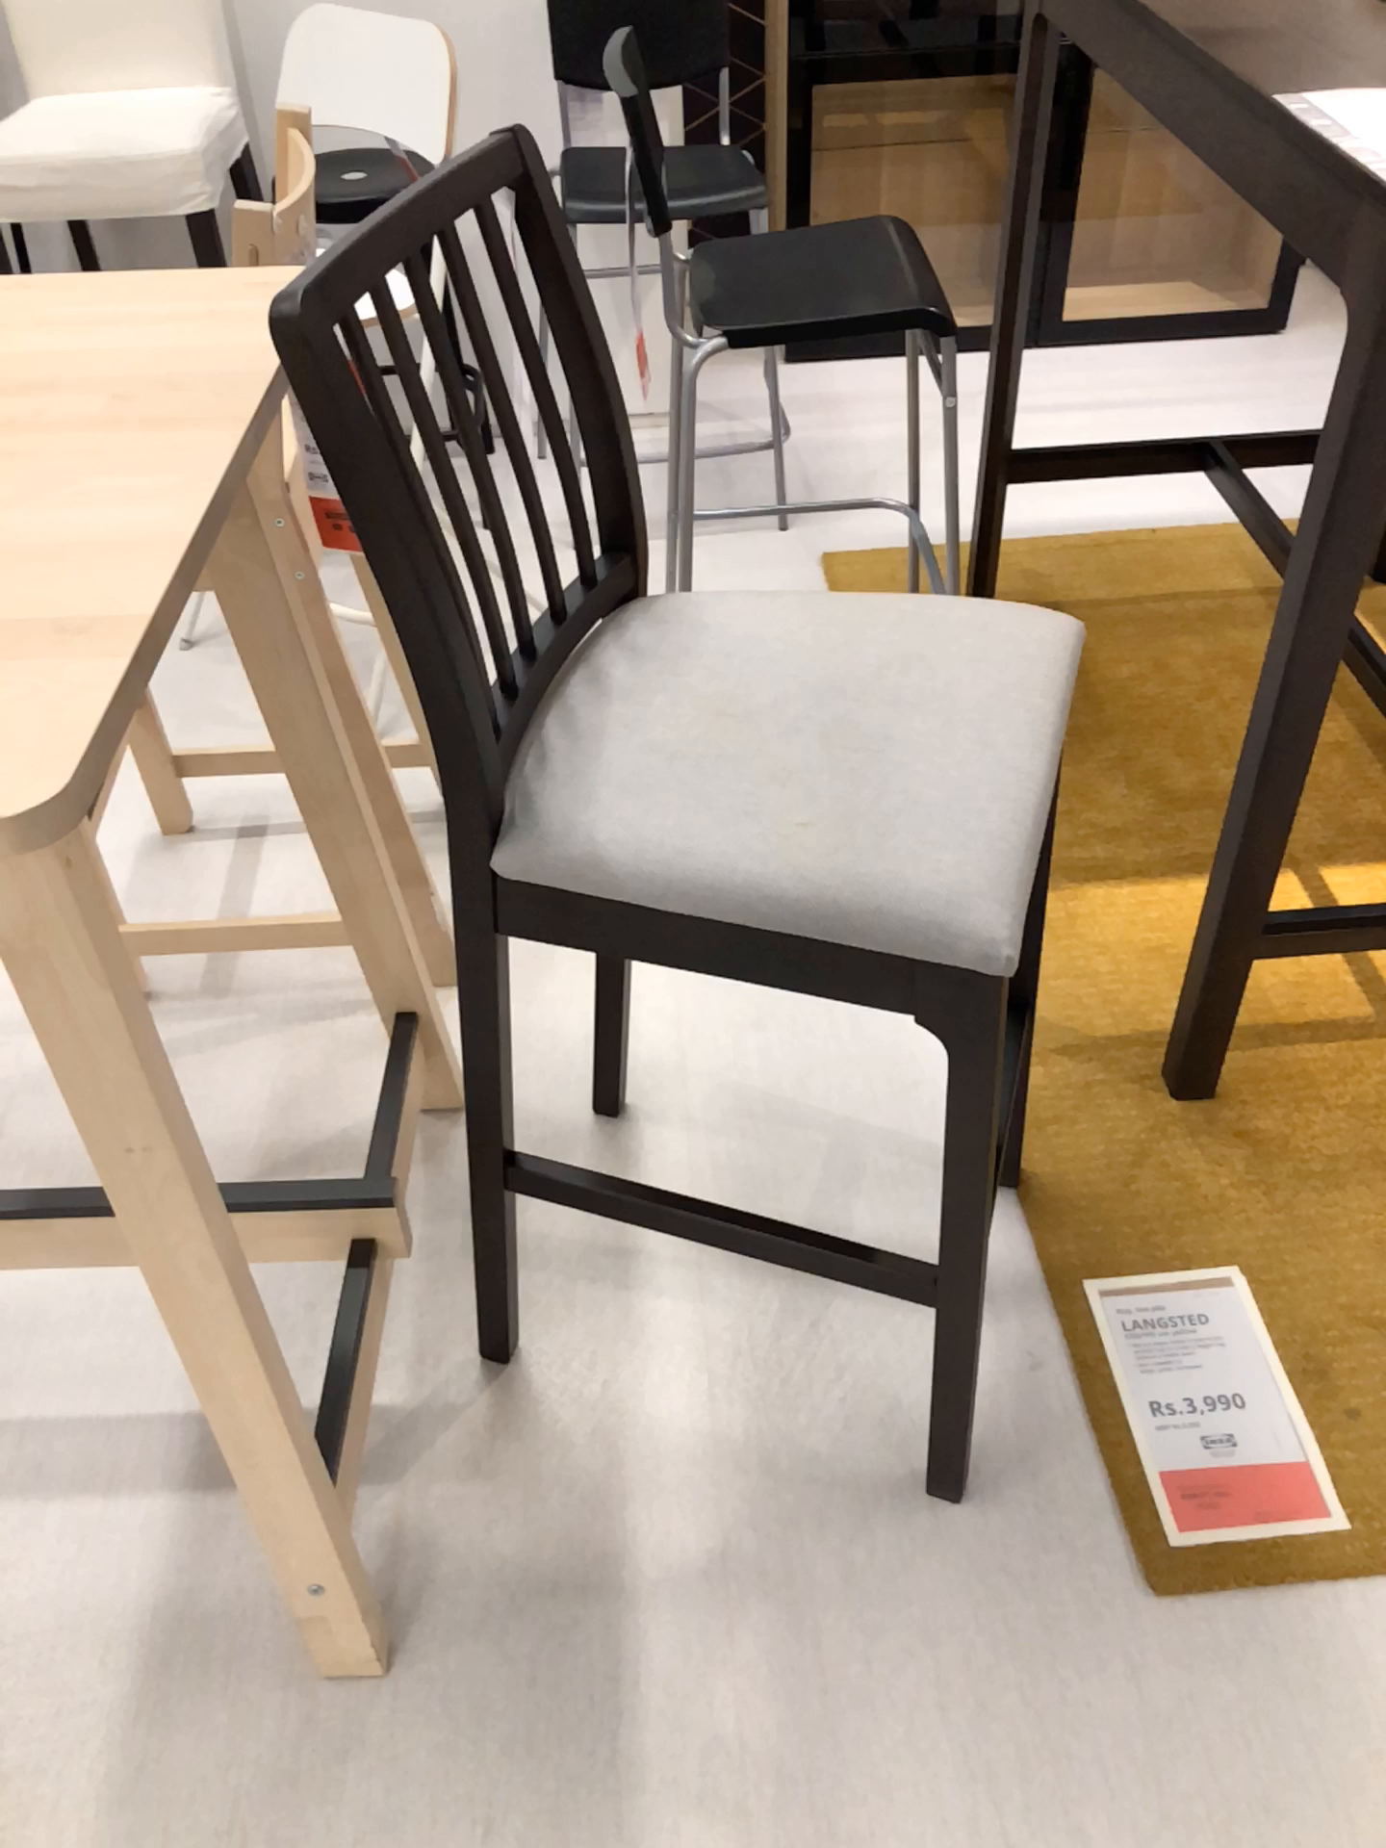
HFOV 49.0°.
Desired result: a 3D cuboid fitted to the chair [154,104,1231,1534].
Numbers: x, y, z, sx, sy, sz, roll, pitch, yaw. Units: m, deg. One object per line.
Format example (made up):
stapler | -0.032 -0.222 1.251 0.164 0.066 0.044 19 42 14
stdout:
chair | 0.056 -0.029 1.313 0.560 1.093 0.483 10 43 13
